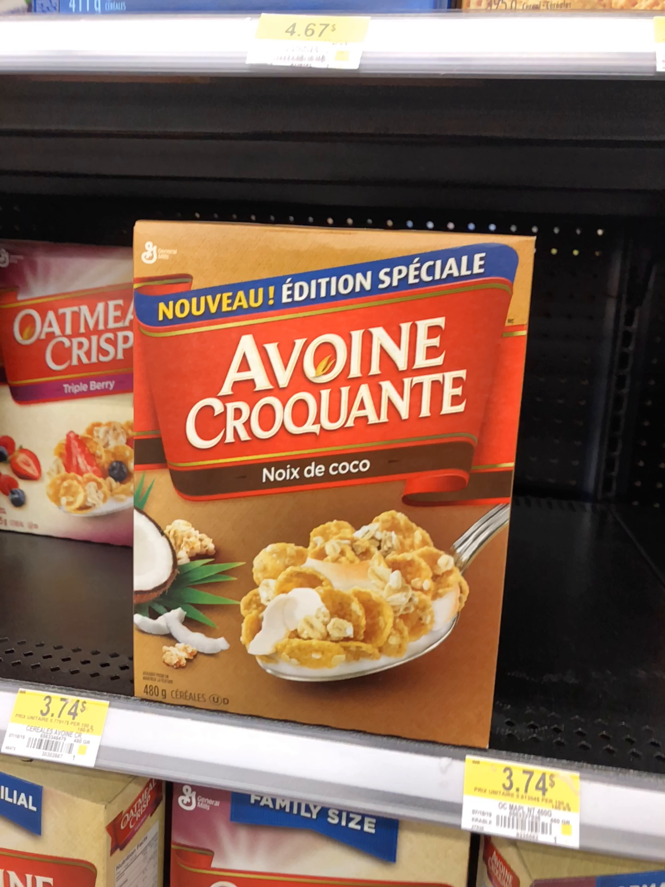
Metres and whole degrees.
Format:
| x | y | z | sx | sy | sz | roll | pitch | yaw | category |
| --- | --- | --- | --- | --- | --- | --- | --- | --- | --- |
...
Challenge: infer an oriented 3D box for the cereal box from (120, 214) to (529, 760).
| x | y | z | sx | sy | sz | roll | pitch | yaw | category |
| --- | --- | --- | --- | --- | --- | --- | --- | --- | --- |
| -0.011 | 0.021 | 0.403 | 0.200 | 0.269 | 0.050 | 5 | 11 | 9 | cereal box |
